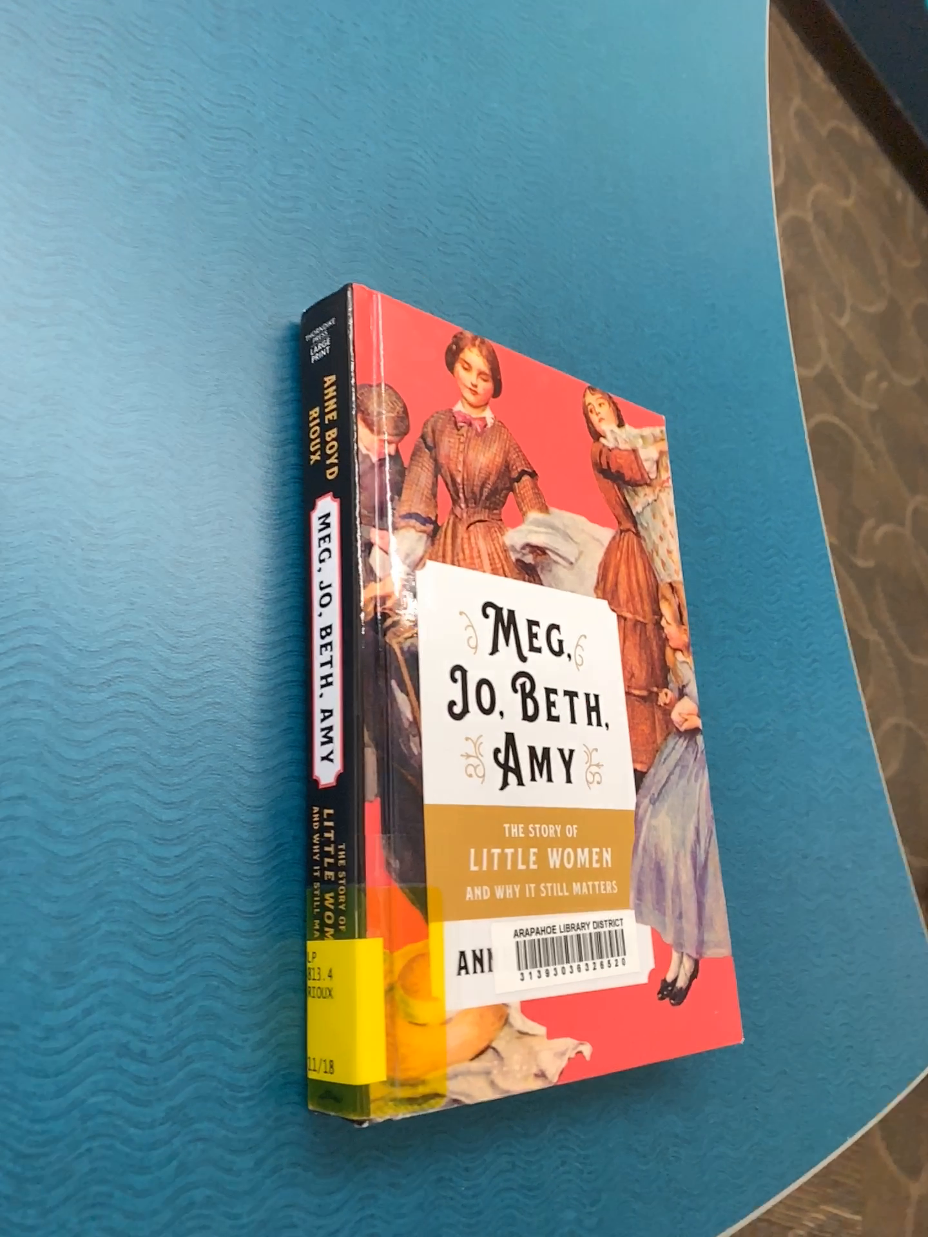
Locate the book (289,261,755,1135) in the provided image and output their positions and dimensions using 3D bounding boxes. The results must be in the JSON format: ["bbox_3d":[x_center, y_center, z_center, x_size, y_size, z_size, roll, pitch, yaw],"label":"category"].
[{"bbox_3d":[0.018,0.021,0.296,0.141,0.040,0.220,10,70,-39],"label":"book"}]
